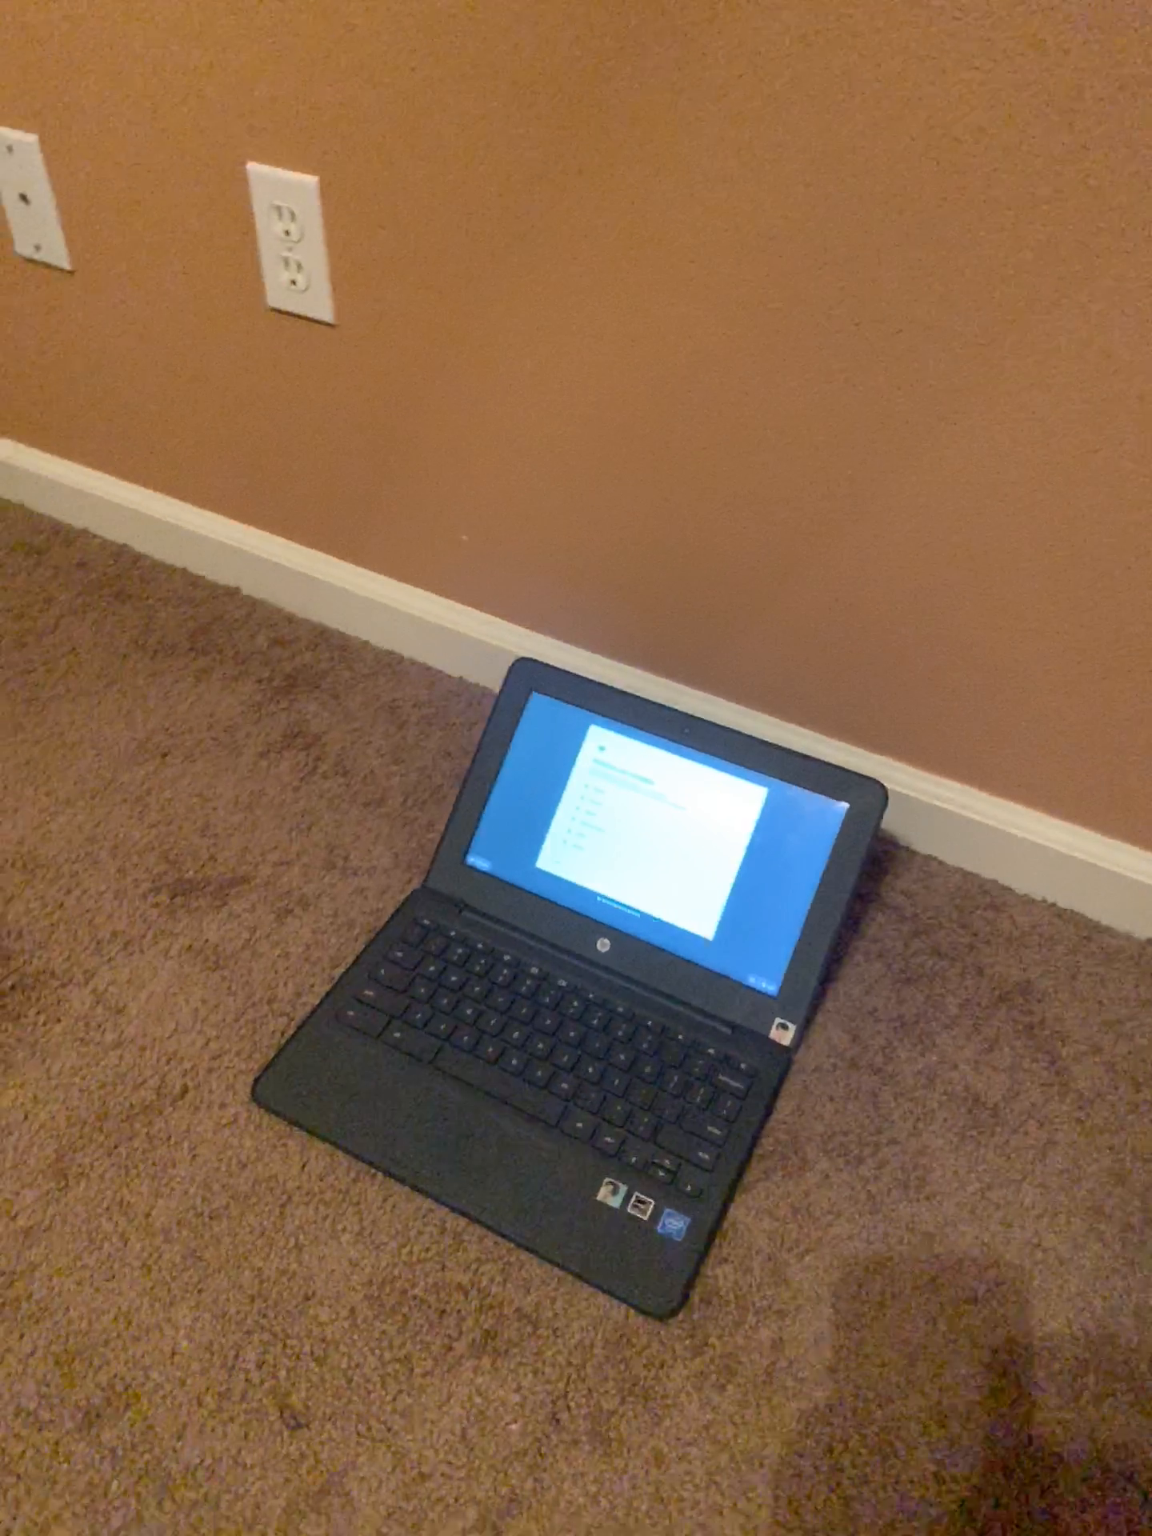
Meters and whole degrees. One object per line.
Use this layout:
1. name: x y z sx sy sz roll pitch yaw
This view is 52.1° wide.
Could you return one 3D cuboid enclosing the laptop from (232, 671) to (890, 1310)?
1. laptop: 0.006 0.116 0.781 0.288 0.124 0.333 21 45 20
